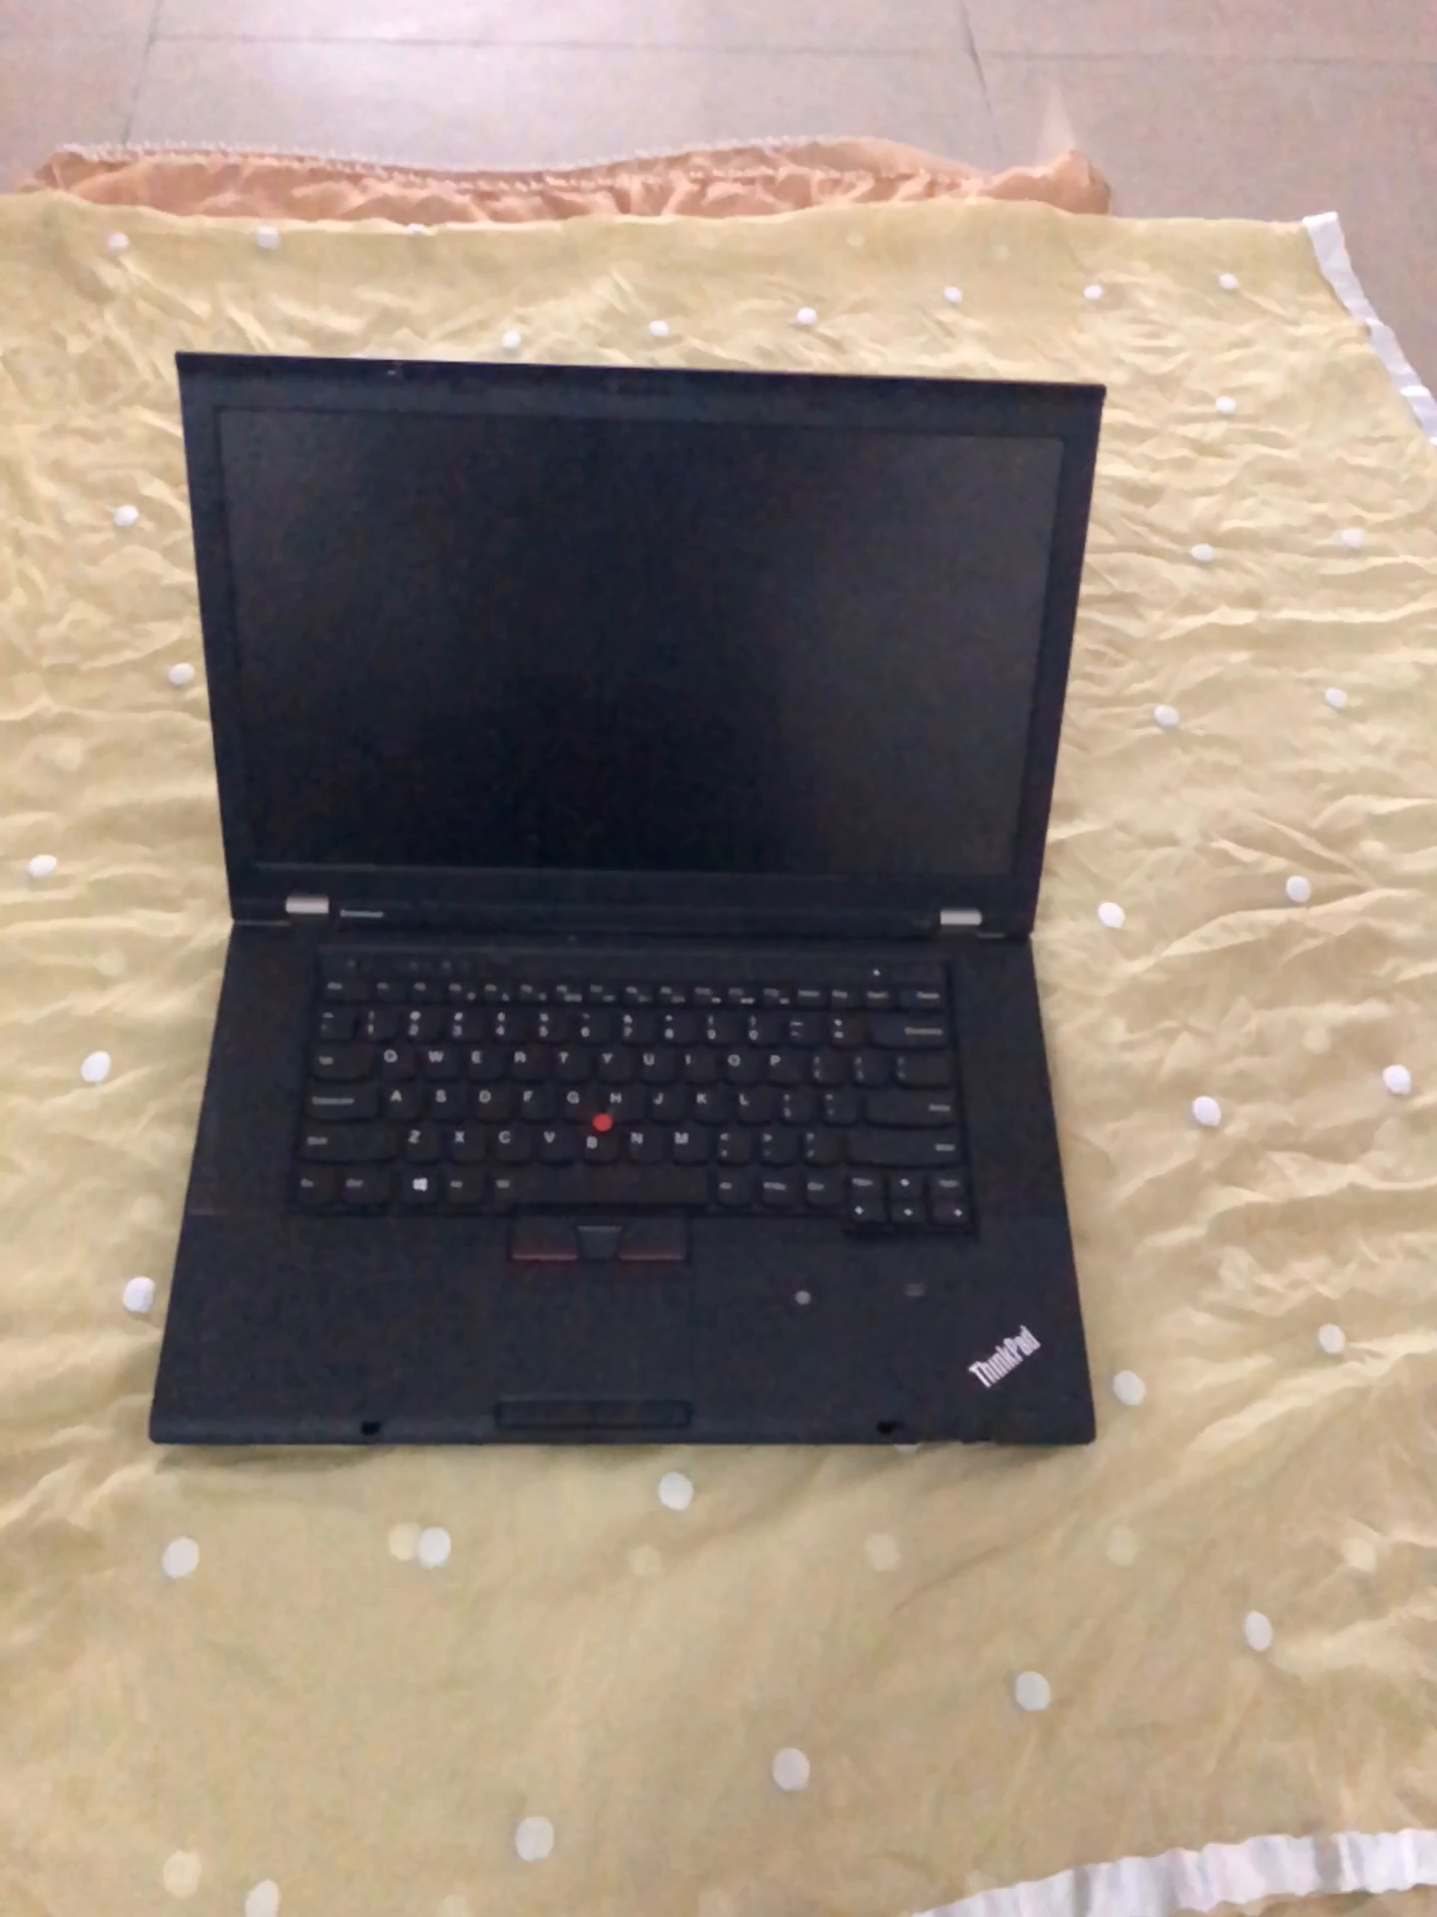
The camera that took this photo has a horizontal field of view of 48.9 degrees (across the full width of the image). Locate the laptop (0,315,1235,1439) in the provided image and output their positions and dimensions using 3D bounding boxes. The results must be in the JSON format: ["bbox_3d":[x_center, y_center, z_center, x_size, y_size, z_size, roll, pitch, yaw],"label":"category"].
[{"bbox_3d":[-0.035,-0.030,0.628,0.363,0.191,0.382,1,62,-3],"label":"laptop"}]
